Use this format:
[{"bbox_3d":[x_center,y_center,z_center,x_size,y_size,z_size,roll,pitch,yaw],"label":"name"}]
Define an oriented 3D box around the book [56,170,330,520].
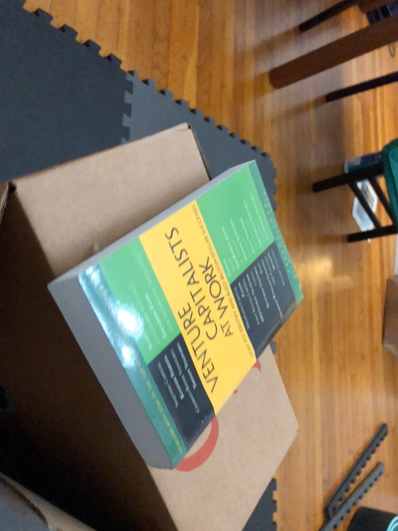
[{"bbox_3d":[0.027,0.039,0.372,0.261,0.040,0.160,-41,115,-46],"label":"book"}]
